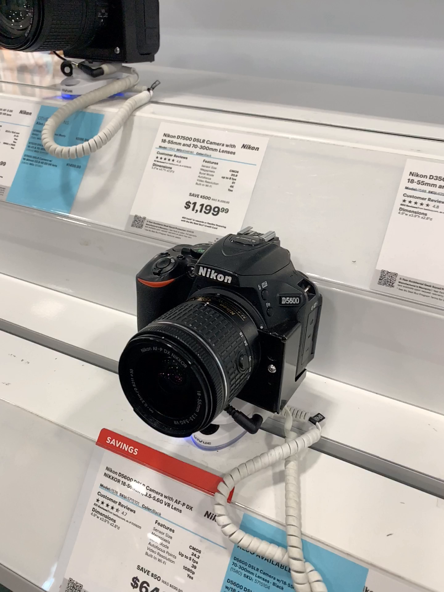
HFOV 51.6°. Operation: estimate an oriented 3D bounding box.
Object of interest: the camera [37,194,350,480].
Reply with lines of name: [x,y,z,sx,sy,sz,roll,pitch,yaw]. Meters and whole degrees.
camera: [-0.011,0.008,0.276,0.130,0.090,0.120,17,31,23]
